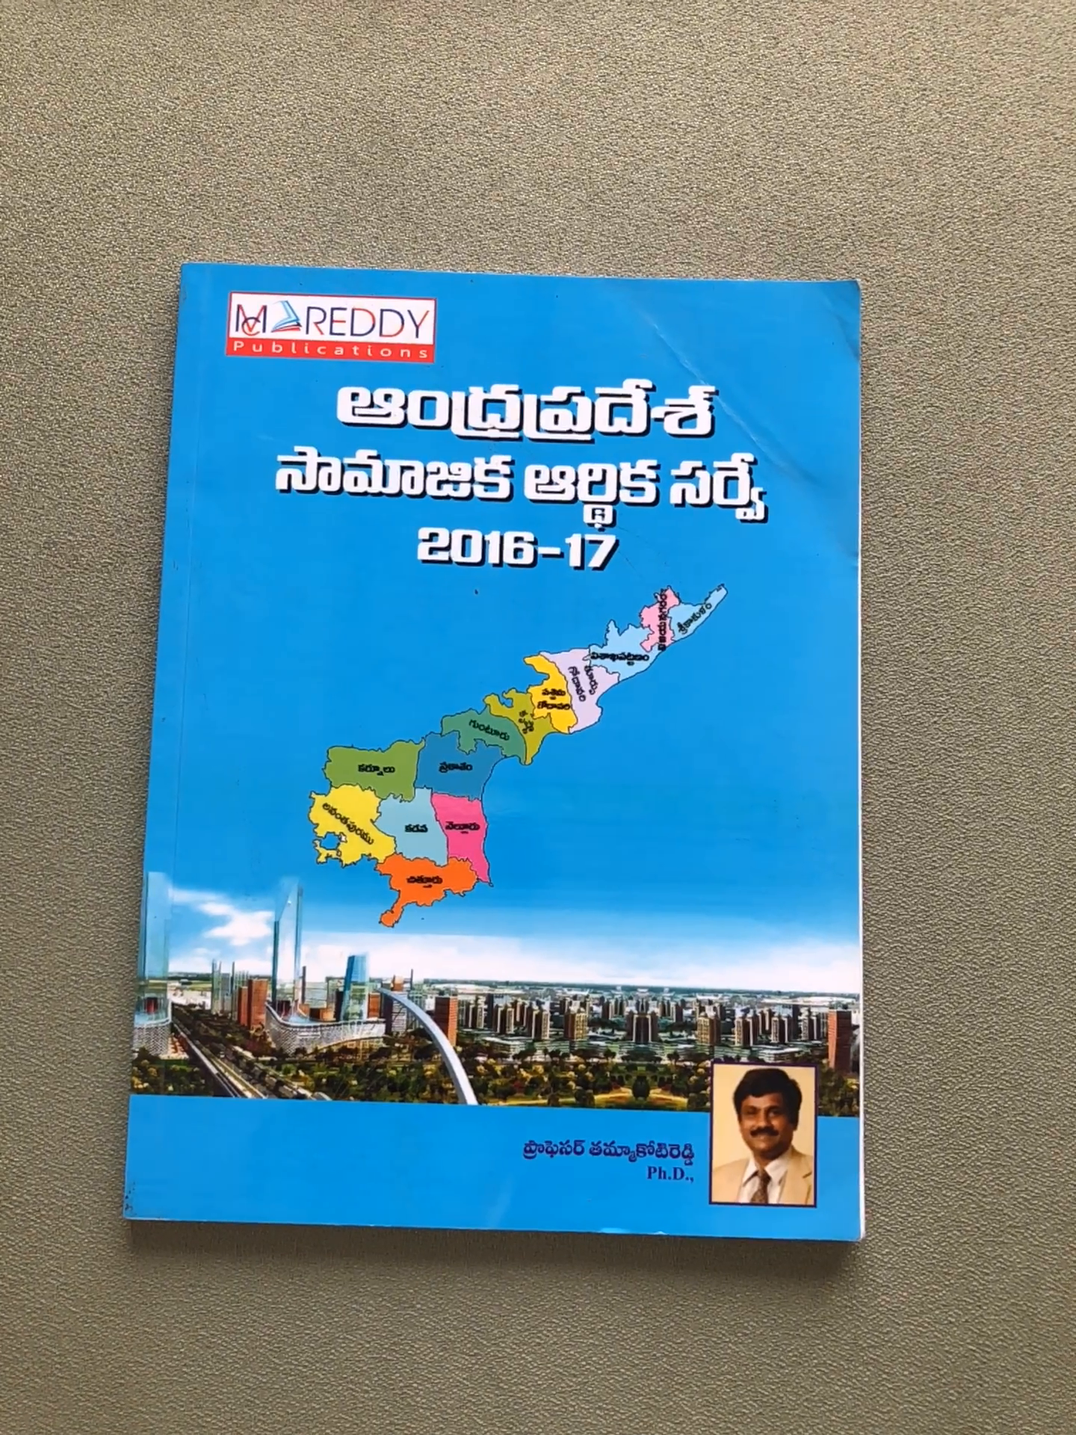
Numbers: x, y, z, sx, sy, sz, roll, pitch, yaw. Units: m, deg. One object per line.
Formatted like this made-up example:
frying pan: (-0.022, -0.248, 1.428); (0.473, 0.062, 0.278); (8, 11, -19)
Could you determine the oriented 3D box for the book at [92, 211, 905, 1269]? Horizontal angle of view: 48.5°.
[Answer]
book: (-0.005, 0.001, 0.287); (0.180, 0.020, 0.240); (2, 84, 0)
